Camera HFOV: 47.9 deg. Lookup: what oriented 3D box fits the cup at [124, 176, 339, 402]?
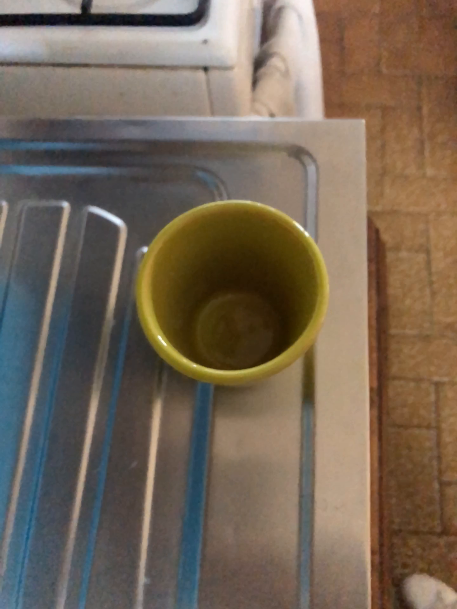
[{"bbox_3d":[0.006,-0.002,0.254,0.080,0.090,0.080,-1,72,3],"label":"cup"}]
